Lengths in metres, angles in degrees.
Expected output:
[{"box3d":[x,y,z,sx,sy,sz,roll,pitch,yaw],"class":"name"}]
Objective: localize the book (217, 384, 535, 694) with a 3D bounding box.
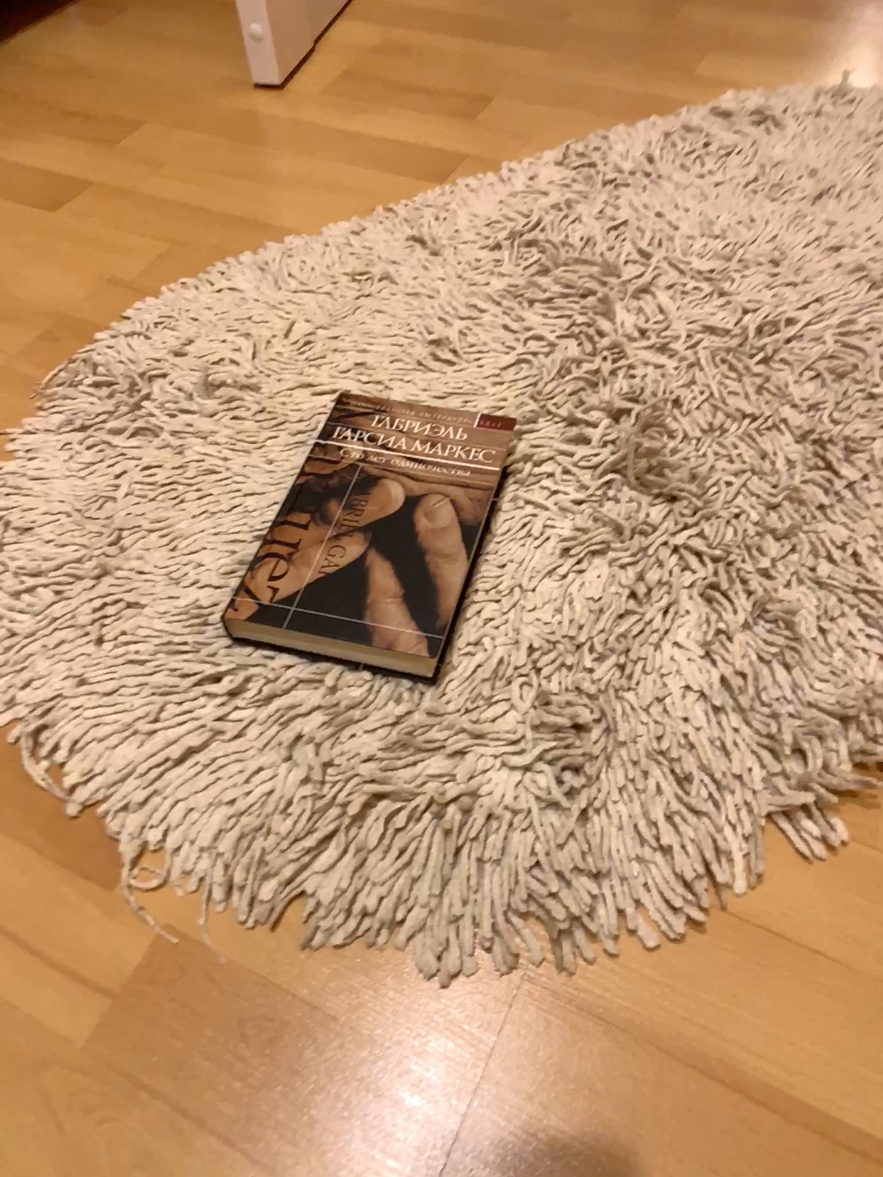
[{"box3d":[-0.032,-0.043,0.576,0.140,0.030,0.212,11,53,12],"class":"book"}]
